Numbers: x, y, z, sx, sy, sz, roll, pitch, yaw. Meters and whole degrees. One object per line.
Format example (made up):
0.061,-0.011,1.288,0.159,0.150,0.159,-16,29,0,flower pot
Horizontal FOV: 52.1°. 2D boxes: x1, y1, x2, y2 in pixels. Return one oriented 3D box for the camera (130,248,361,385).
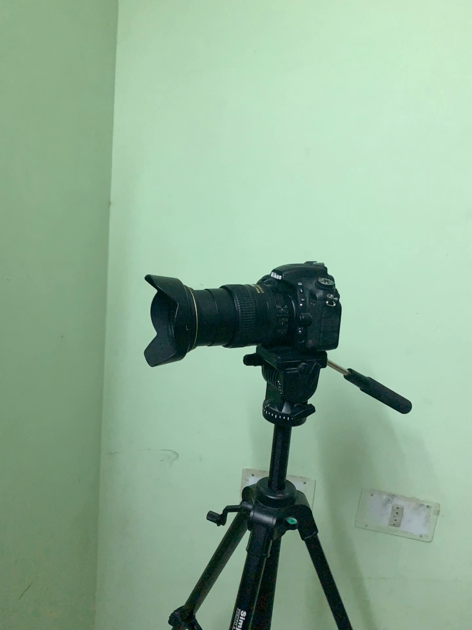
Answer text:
0.005,-0.008,0.640,0.250,0.132,0.164,-1,13,-25,camera
